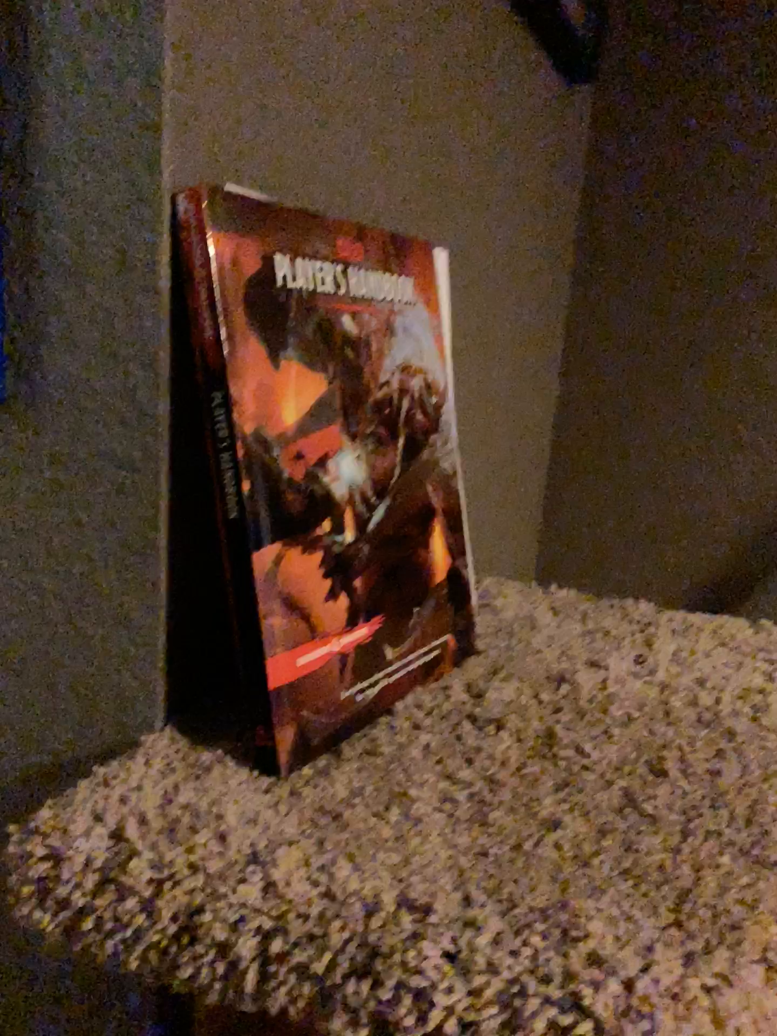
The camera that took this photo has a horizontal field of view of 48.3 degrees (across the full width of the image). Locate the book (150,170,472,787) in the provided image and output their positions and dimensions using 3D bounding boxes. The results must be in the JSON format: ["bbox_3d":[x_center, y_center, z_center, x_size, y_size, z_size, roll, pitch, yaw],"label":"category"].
[{"bbox_3d":[-0.027,-0.028,0.513,0.040,0.290,0.230,0,8,31],"label":"book"}]
